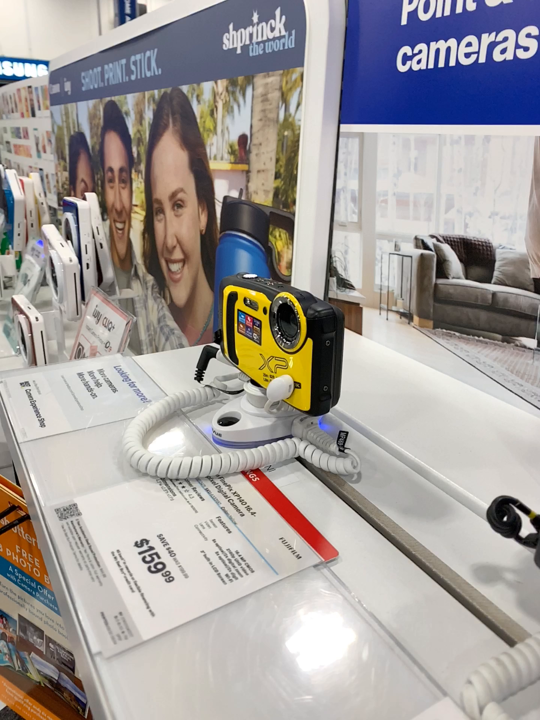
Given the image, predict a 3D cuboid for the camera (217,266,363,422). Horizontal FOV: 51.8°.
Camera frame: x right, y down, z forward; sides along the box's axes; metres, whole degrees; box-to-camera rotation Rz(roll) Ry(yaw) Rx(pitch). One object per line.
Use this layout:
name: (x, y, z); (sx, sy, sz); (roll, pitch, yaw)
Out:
camera: (0.006, -0.016, 0.337); (0.030, 0.060, 0.110); (-11, 25, -30)
